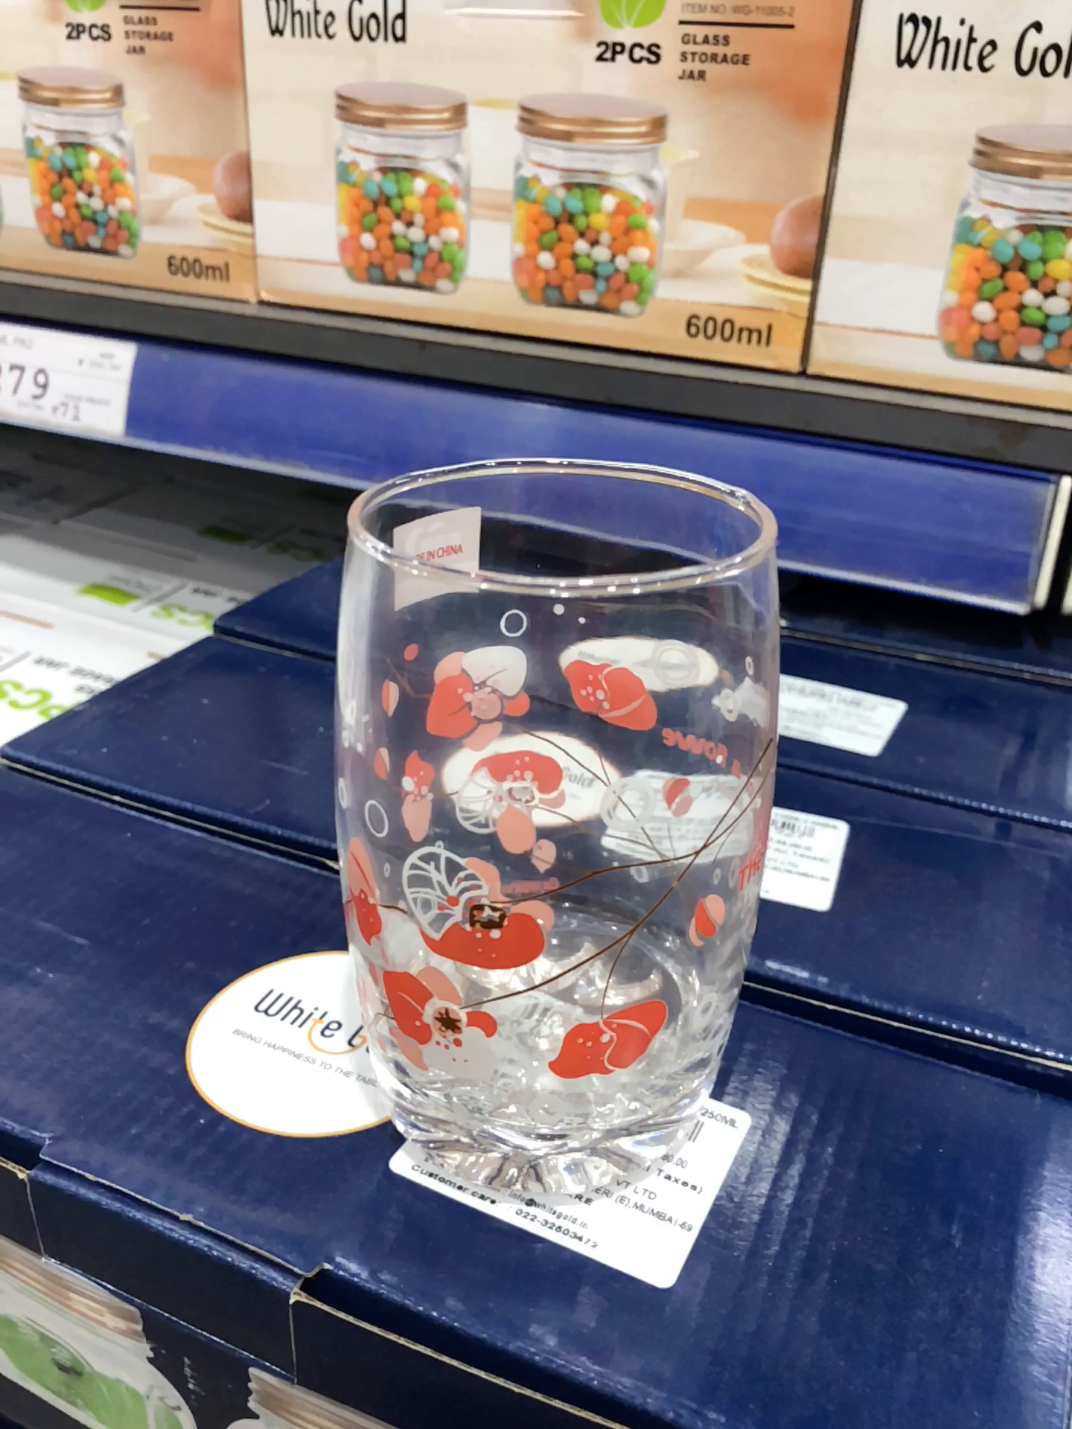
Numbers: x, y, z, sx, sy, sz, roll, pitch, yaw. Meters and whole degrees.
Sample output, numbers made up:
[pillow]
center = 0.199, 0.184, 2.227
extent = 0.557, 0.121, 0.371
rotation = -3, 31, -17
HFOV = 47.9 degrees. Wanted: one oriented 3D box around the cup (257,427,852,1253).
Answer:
[cup]
center = 0.005, 0.016, 0.193
extent = 0.070, 0.100, 0.070
rotation = 3, 27, -1
